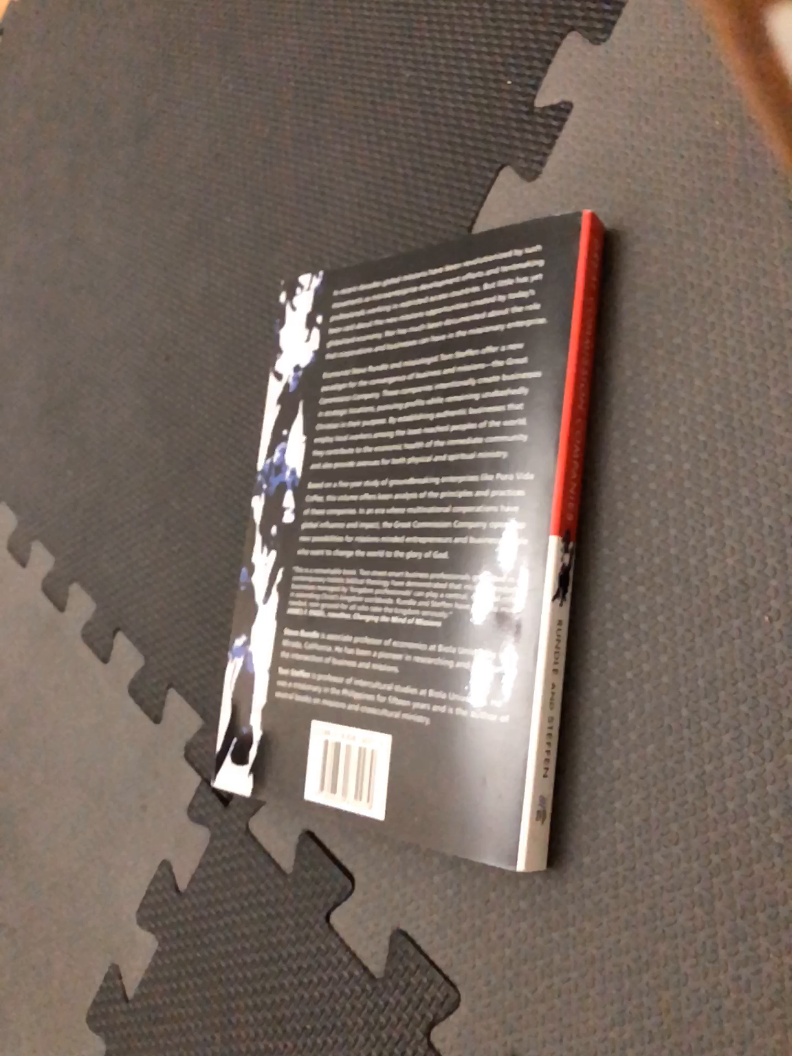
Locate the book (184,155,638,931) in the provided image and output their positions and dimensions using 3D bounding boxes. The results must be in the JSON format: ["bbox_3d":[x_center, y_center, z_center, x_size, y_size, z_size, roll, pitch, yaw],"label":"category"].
[{"bbox_3d":[0.000,-0.002,0.311,0.151,0.020,0.230,-1,77,40],"label":"book"}]

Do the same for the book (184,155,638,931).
[{"bbox_3d":[0.000,-0.002,0.311,0.151,0.020,0.230,-1,77,40],"label":"book"}]
